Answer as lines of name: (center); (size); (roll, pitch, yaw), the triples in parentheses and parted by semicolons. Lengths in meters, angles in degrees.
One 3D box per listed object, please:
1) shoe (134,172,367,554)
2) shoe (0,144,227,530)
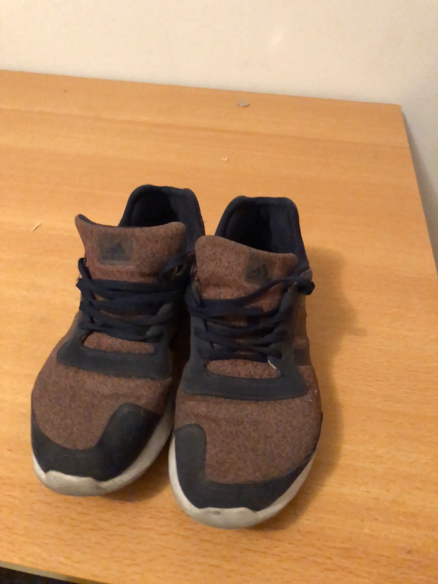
shoe: (0.029, 0.027, 0.355); (0.110, 0.099, 0.262); (6, 44, 4)
shoe: (-0.077, 0.003, 0.392); (0.130, 0.099, 0.312); (6, 44, 4)
